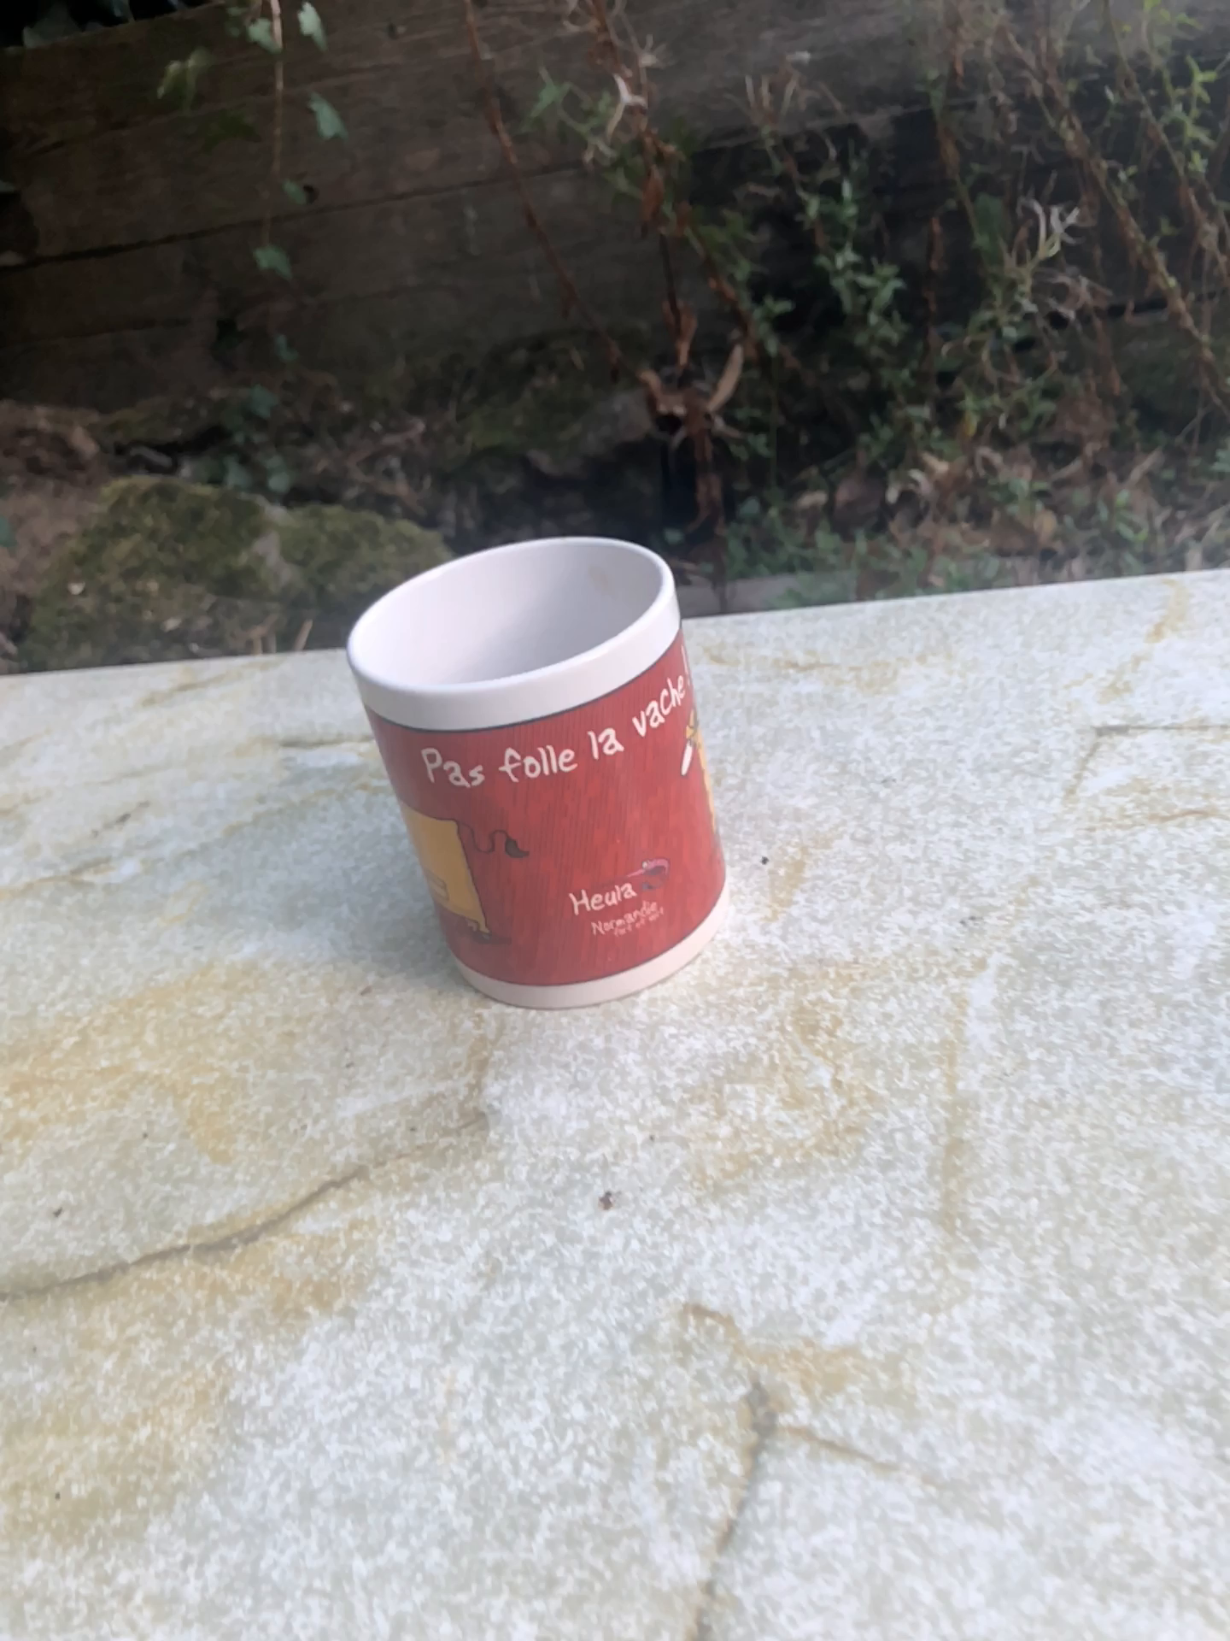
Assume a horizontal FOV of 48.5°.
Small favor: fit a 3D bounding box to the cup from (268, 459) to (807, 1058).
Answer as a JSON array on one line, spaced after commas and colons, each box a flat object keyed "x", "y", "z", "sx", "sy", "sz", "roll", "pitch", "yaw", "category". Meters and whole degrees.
[{"x": -0.024, "y": -0.025, "z": 0.354, "sx": 0.086, "sy": 0.083, "sz": 0.130, "roll": -21, "pitch": 35, "yaw": -13, "category": "cup"}]
